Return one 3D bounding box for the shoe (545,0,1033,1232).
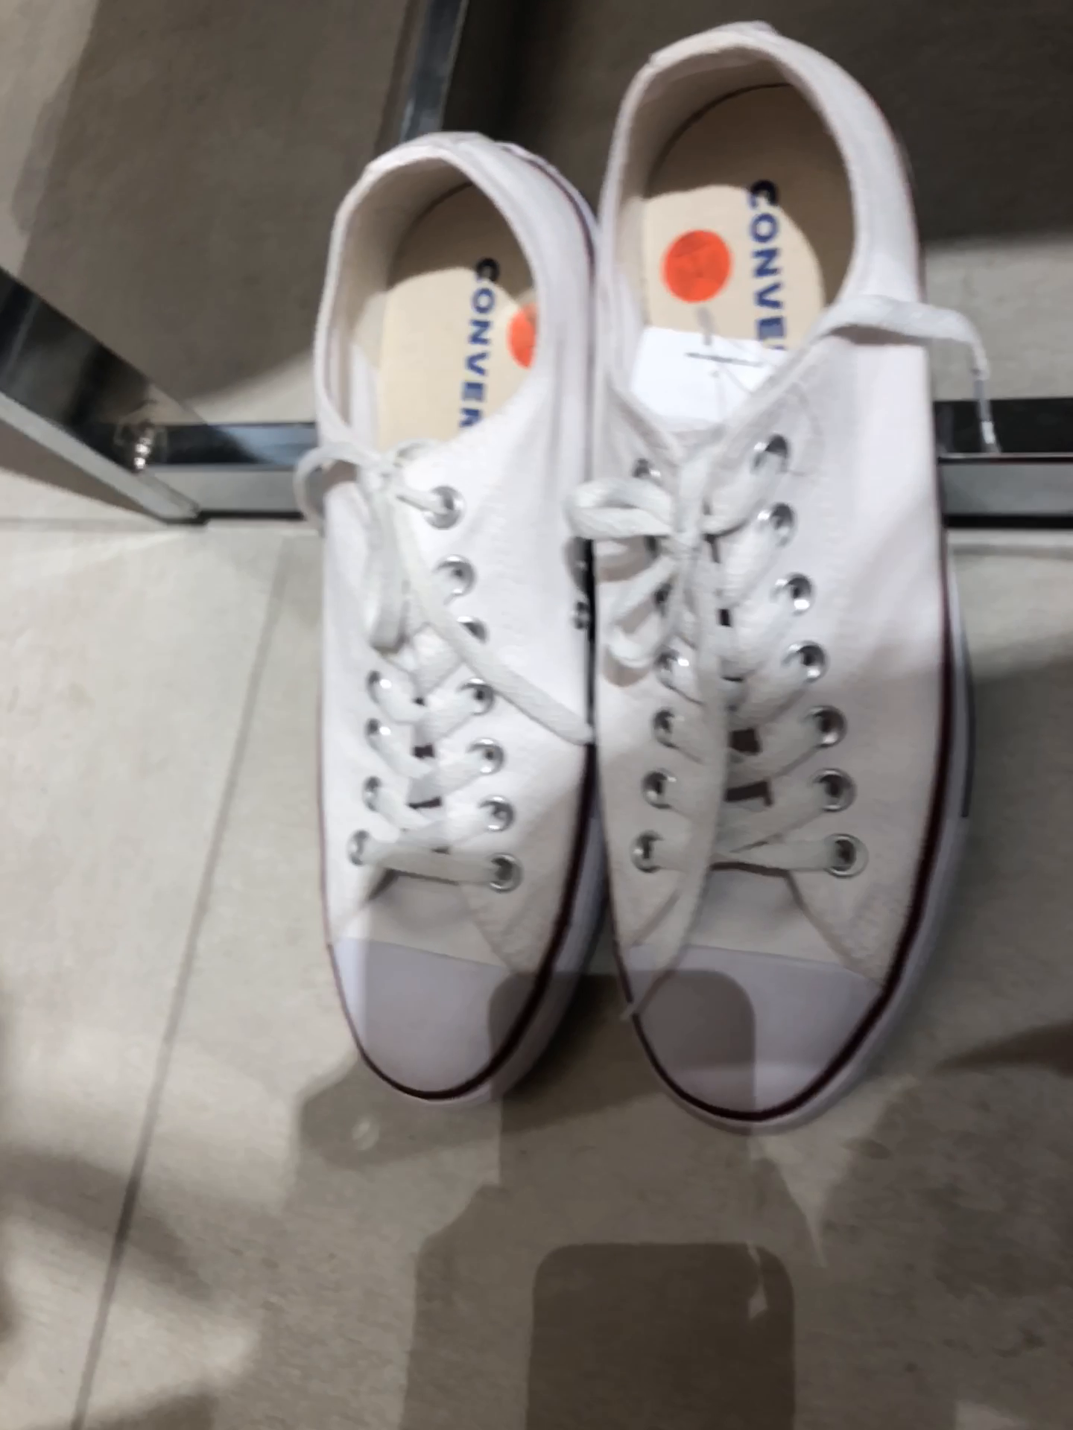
[{"bbox_3d":[0.068,-0.031,0.325,0.100,0.090,0.290,4,98,26],"label":"shoe"}]

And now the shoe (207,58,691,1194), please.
[{"bbox_3d":[-0.027,-0.023,0.371,0.110,0.090,0.290,6,99,26],"label":"shoe"}]
